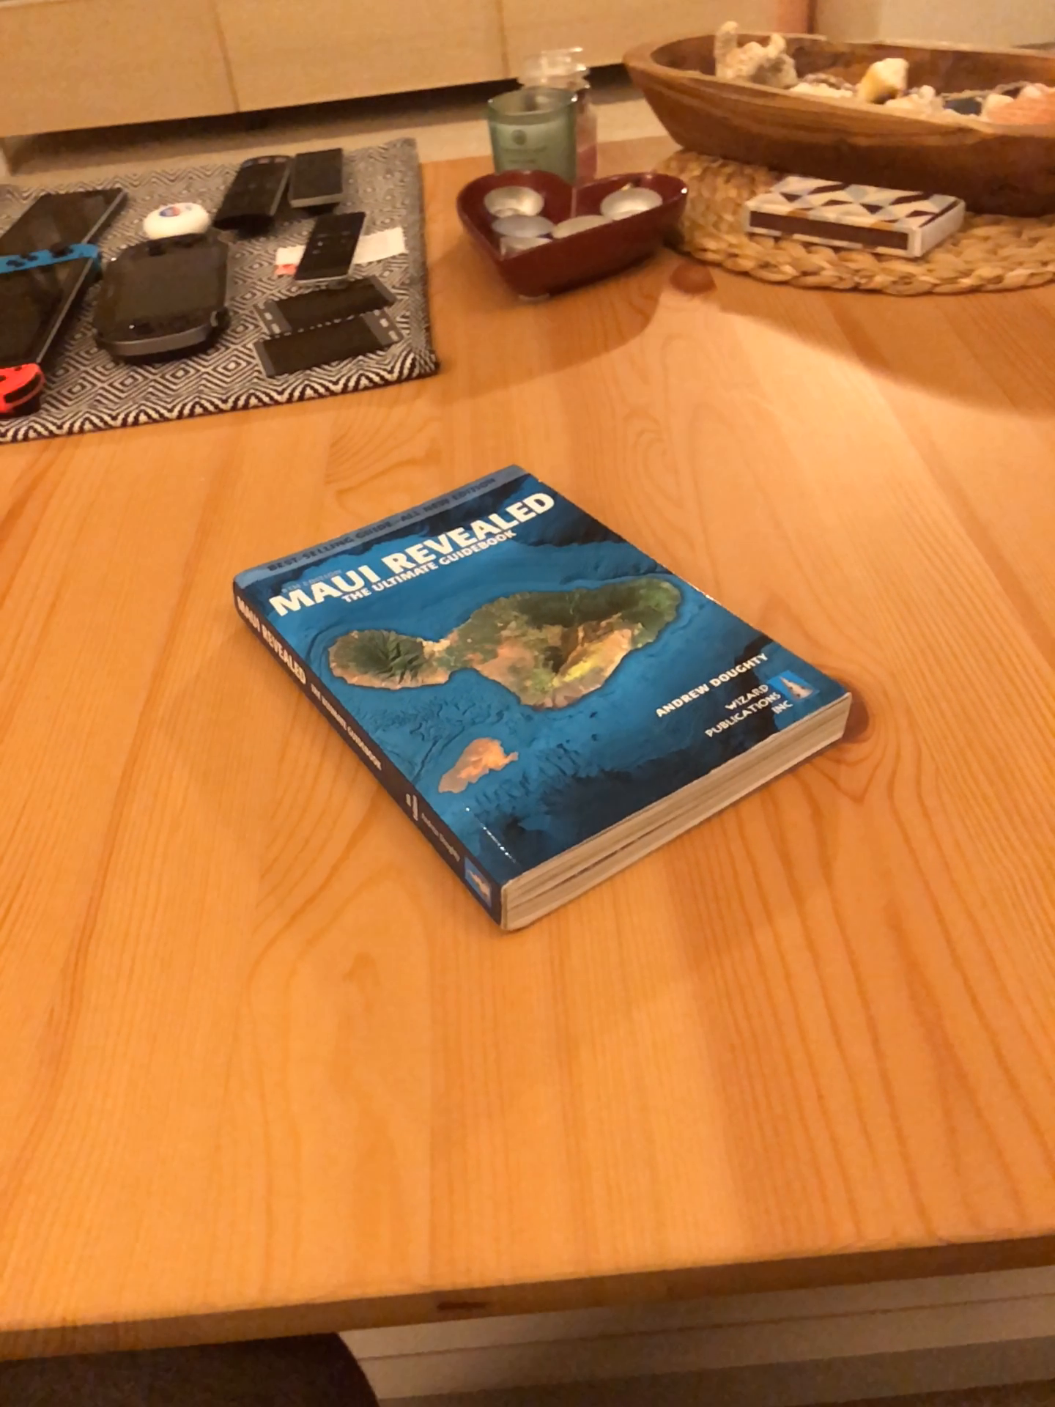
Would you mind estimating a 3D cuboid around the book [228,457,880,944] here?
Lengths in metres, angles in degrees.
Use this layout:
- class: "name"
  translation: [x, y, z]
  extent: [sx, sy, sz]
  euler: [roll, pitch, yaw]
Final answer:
- class: "book"
  translation: [0.000, -0.020, 0.425]
  extent: [0.146, 0.020, 0.201]
  euler: [-26, 46, -24]
